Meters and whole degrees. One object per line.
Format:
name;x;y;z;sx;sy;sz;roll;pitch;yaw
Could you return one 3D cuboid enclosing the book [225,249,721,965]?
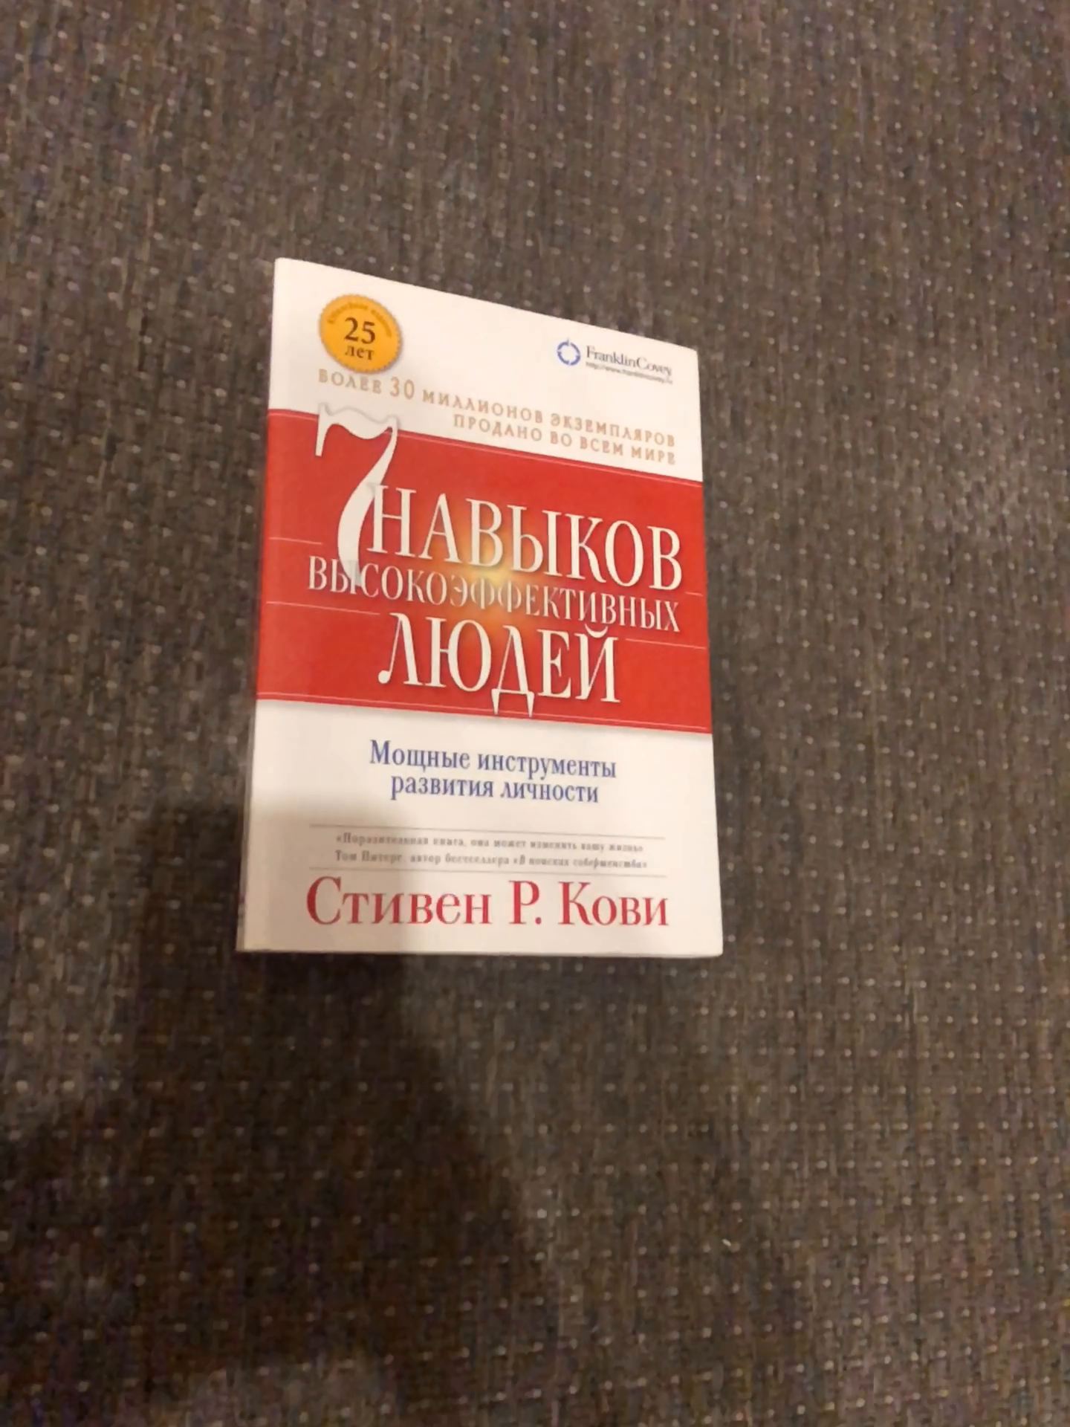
book;-0.015;-0.034;0.417;0.166;0.020;0.236;6;76;-21
